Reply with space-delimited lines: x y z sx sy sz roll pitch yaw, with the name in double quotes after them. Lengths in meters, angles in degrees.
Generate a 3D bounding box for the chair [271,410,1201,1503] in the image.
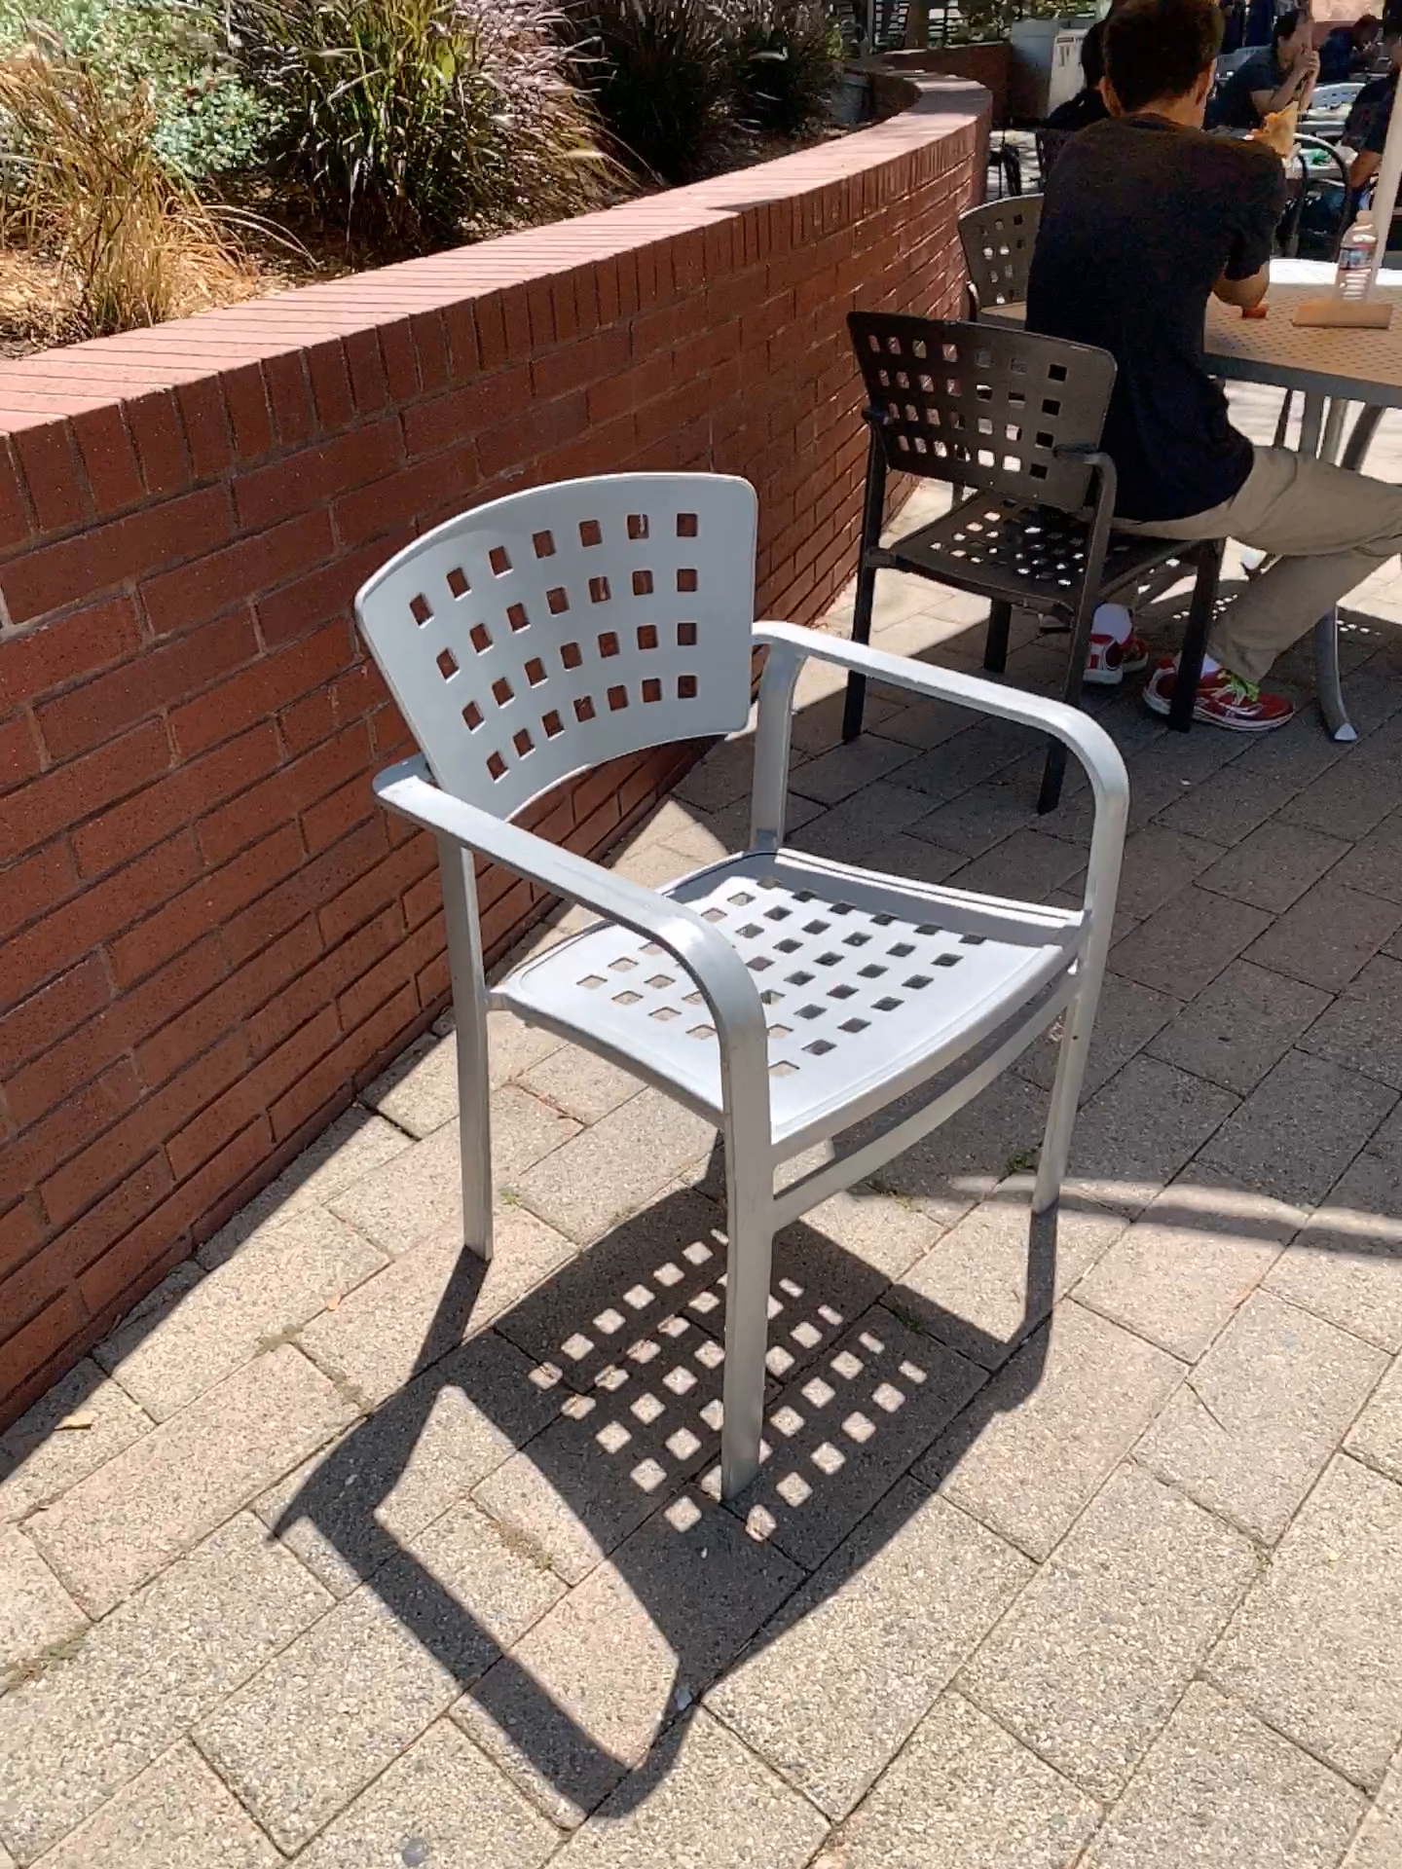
0.049 -0.029 1.336 0.494 0.718 0.557 24 40 36 "chair"
